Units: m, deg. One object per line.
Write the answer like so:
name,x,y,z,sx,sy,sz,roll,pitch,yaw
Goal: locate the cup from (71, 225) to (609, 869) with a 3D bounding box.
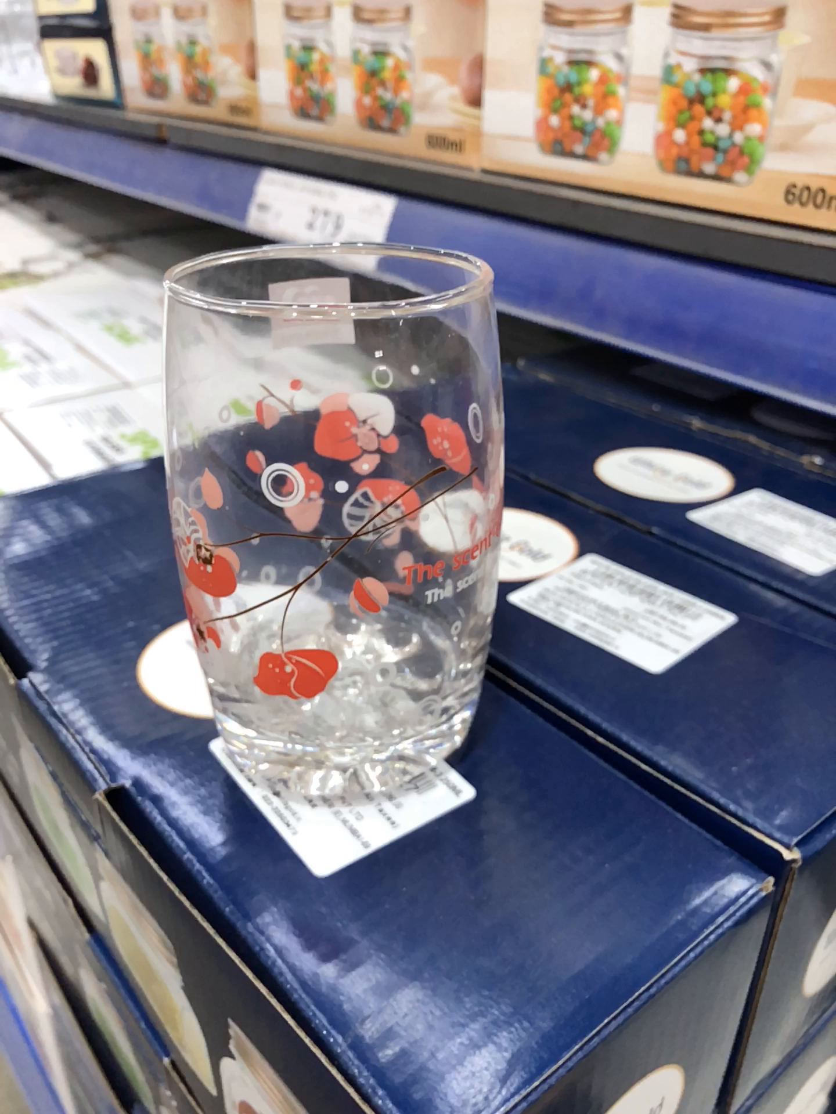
cup,-0.013,-0.008,0.200,0.070,0.099,0.070,0,30,0
